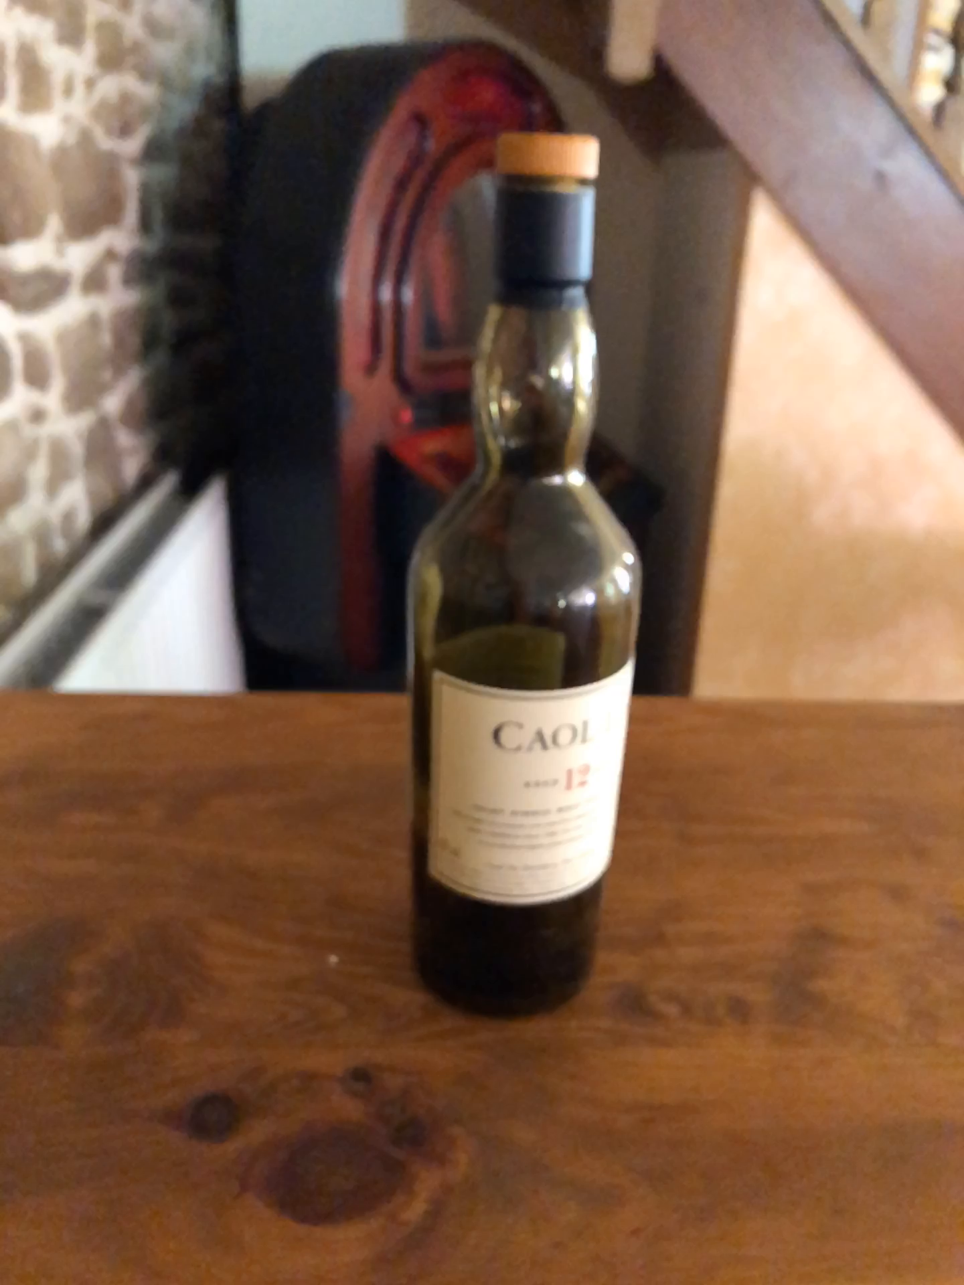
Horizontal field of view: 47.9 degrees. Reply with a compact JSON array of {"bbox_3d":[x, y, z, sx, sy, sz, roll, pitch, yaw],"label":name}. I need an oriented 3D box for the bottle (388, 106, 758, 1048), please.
[{"bbox_3d":[0.022,-0.015,0.374,0.080,0.298,0.070,-15,28,-36],"label":"bottle"}]
